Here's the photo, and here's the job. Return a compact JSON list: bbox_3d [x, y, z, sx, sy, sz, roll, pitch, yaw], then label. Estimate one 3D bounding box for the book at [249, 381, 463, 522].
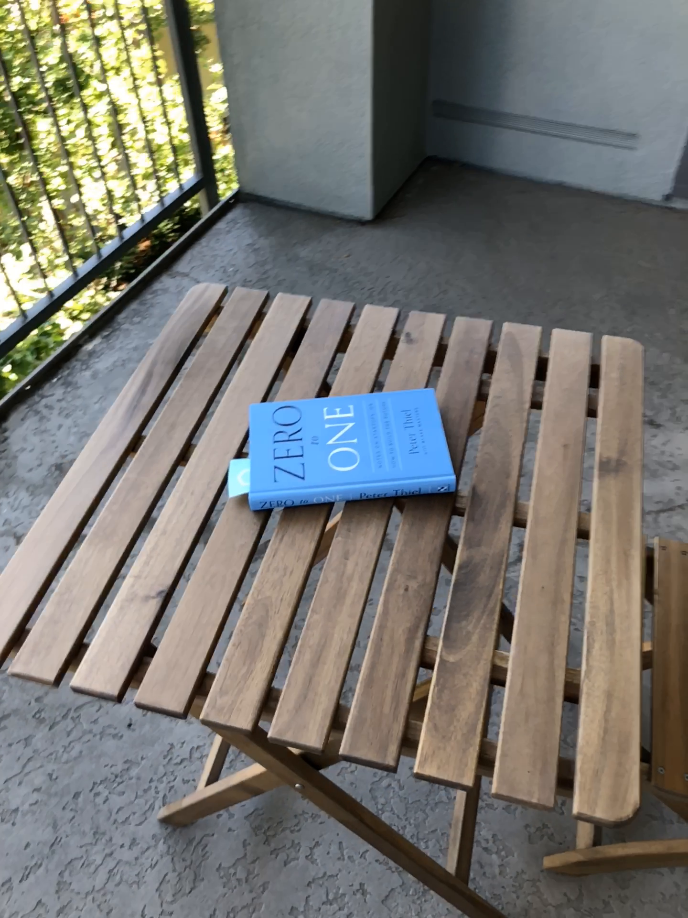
[{"bbox_3d":[0.007,-0.013,0.845,0.220,0.030,0.161,-5,48,-2],"label":"book"}]
